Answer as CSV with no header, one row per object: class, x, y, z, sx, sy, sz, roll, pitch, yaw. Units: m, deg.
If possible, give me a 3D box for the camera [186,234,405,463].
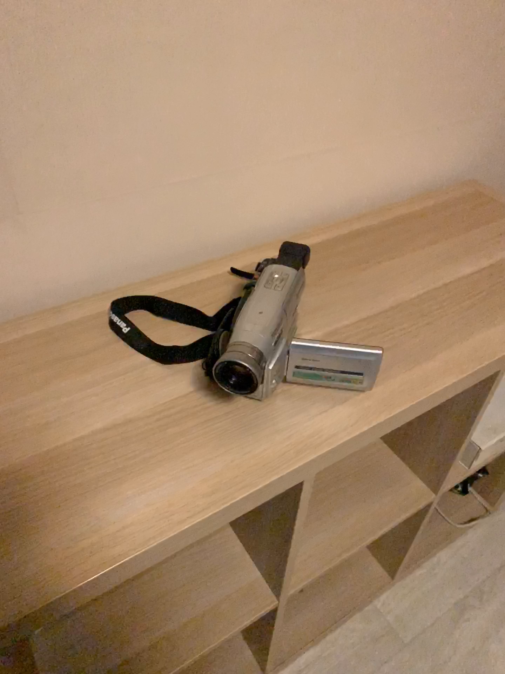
camera,0.063,-0.003,0.632,0.202,0.109,0.247,13,41,11
